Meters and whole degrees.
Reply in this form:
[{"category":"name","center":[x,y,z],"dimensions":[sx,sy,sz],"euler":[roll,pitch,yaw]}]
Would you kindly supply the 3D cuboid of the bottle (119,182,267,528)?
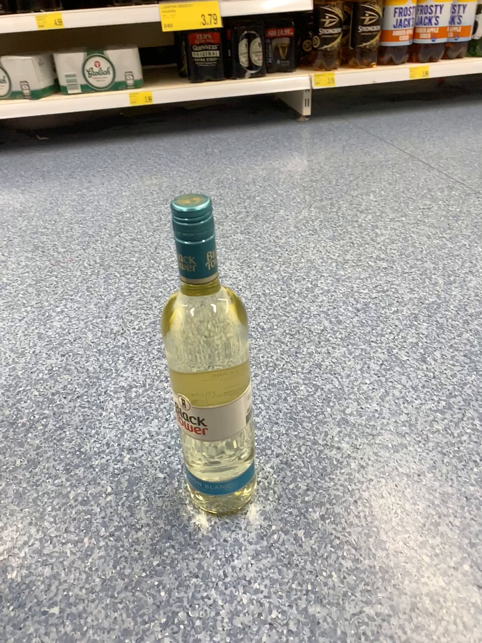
[{"category":"bottle","center":[-0.029,0.044,0.428],"dimensions":[0.071,0.305,0.065],"euler":[-2,34,2]}]
